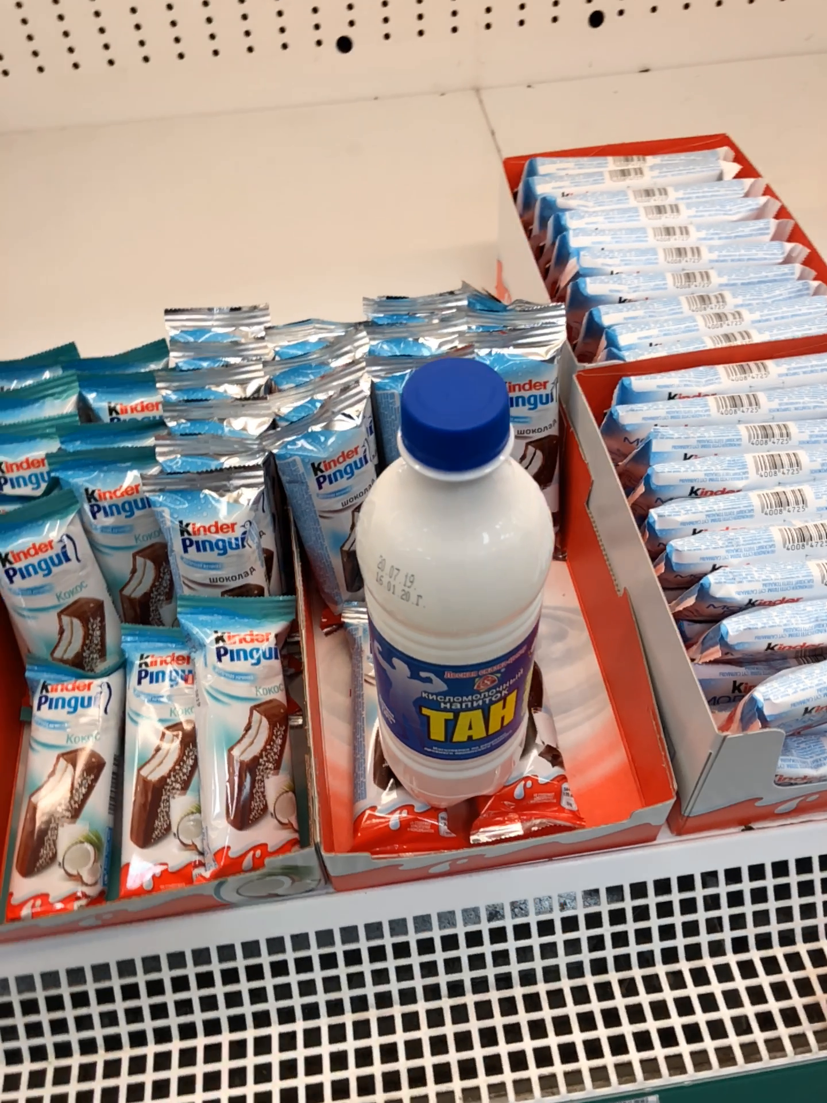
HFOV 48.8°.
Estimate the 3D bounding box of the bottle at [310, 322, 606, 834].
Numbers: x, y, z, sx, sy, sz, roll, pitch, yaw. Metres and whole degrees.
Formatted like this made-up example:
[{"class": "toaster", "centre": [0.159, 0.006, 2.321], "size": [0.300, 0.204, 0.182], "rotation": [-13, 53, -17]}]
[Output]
[{"class": "bottle", "centre": [0.014, 0.026, 0.323], "size": [0.064, 0.203, 0.060], "rotation": [-2, 52, 2]}]
